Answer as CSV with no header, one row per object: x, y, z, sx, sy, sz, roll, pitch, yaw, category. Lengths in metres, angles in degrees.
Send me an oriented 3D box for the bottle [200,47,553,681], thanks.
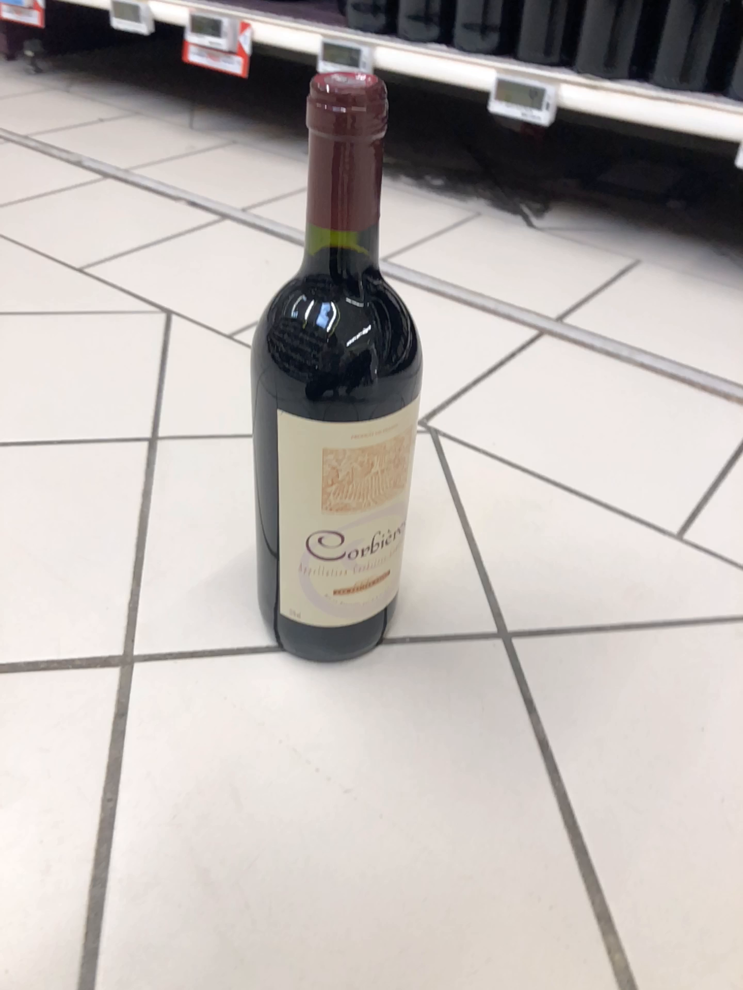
-0.007,-0.048,0.361,0.090,0.248,0.090,2,37,-2,bottle
